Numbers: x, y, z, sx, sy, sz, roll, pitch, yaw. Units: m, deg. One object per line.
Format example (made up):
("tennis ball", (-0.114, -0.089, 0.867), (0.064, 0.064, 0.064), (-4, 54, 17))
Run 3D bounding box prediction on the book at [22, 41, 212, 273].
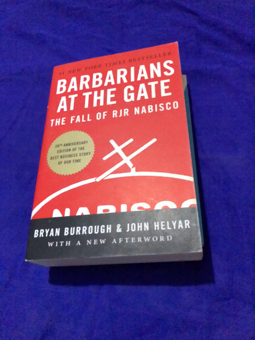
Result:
("book", (-0.006, -0.017, 0.273), (0.140, 0.050, 0.210), (-5, 63, 11))
